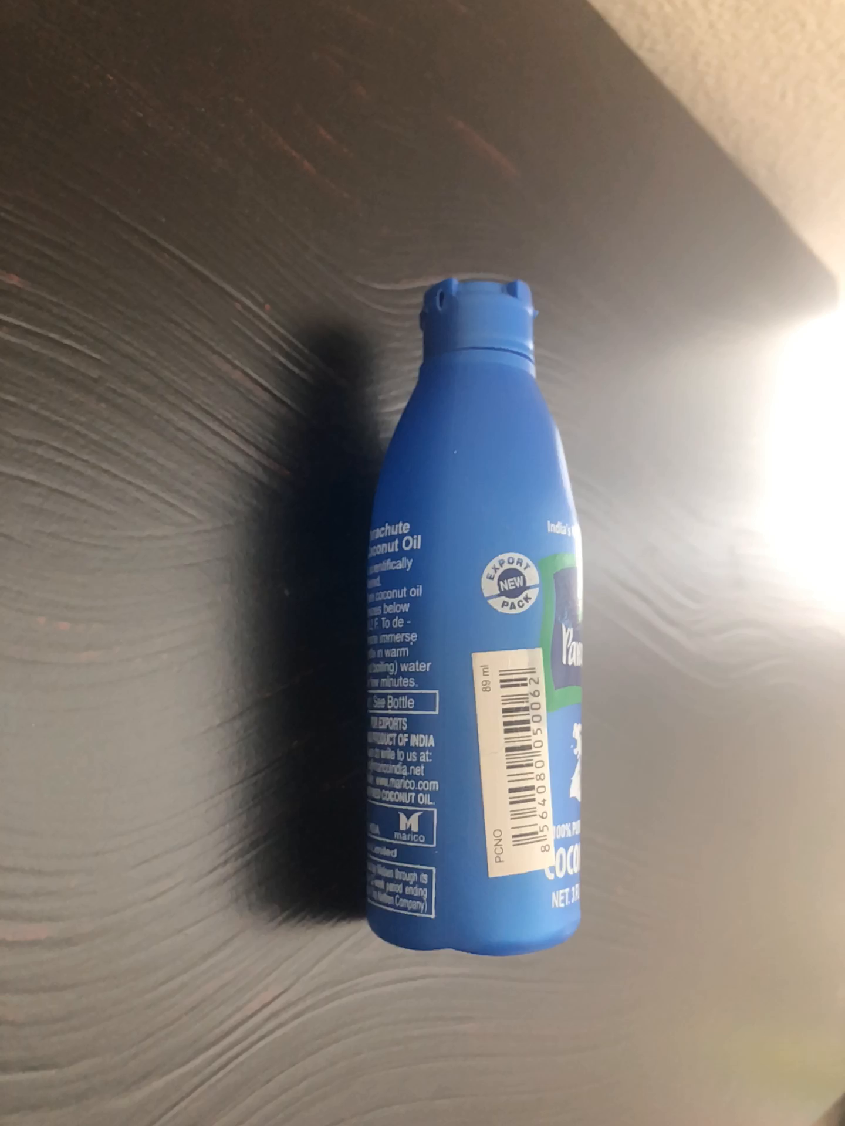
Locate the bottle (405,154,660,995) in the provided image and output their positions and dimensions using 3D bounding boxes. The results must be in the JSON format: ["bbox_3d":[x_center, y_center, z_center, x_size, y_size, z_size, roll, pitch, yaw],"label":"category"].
[{"bbox_3d":[0.022,0.001,0.180,0.040,0.040,0.140,39,51,-76],"label":"bottle"}]
